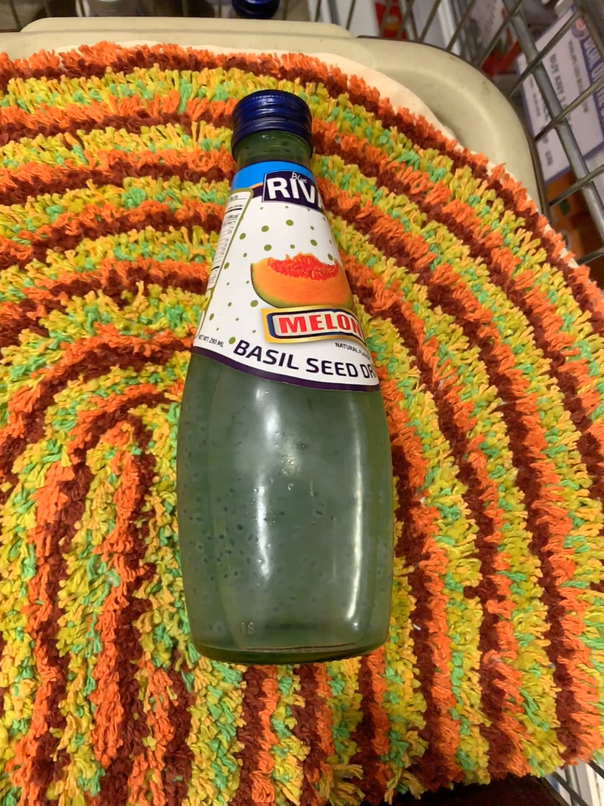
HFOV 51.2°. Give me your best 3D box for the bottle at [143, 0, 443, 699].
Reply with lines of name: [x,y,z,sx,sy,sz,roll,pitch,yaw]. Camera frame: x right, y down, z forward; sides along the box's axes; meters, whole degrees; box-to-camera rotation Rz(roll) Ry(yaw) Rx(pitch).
bottle: [-0.009,-0.017,0.191,0.060,0.060,0.180,5,74,-27]
